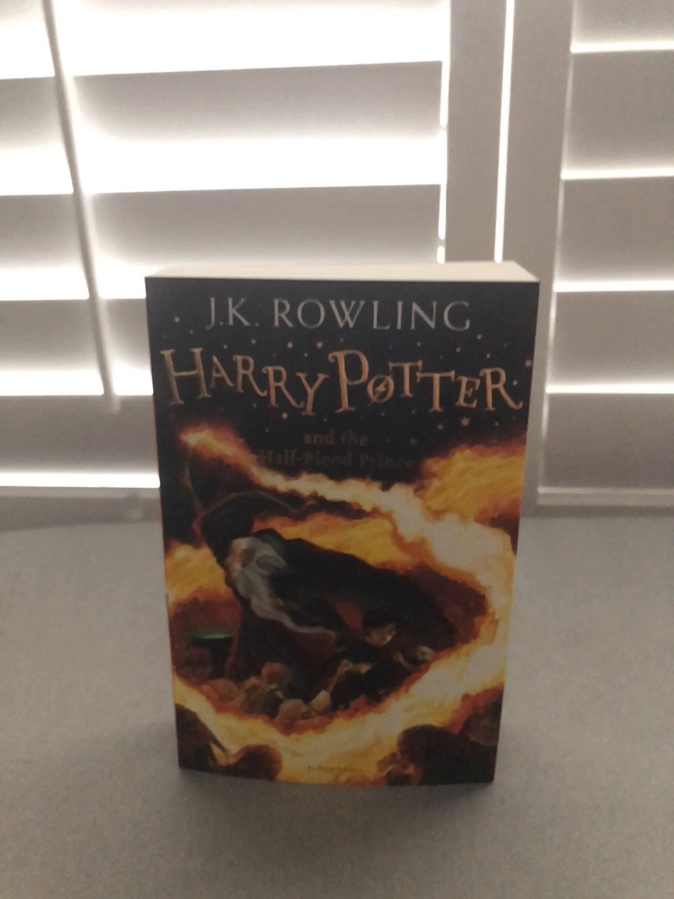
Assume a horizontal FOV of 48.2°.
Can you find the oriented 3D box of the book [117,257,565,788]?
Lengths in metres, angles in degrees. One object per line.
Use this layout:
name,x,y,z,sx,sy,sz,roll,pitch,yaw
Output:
book,0.004,0.029,0.288,0.141,0.194,0.047,0,17,5
